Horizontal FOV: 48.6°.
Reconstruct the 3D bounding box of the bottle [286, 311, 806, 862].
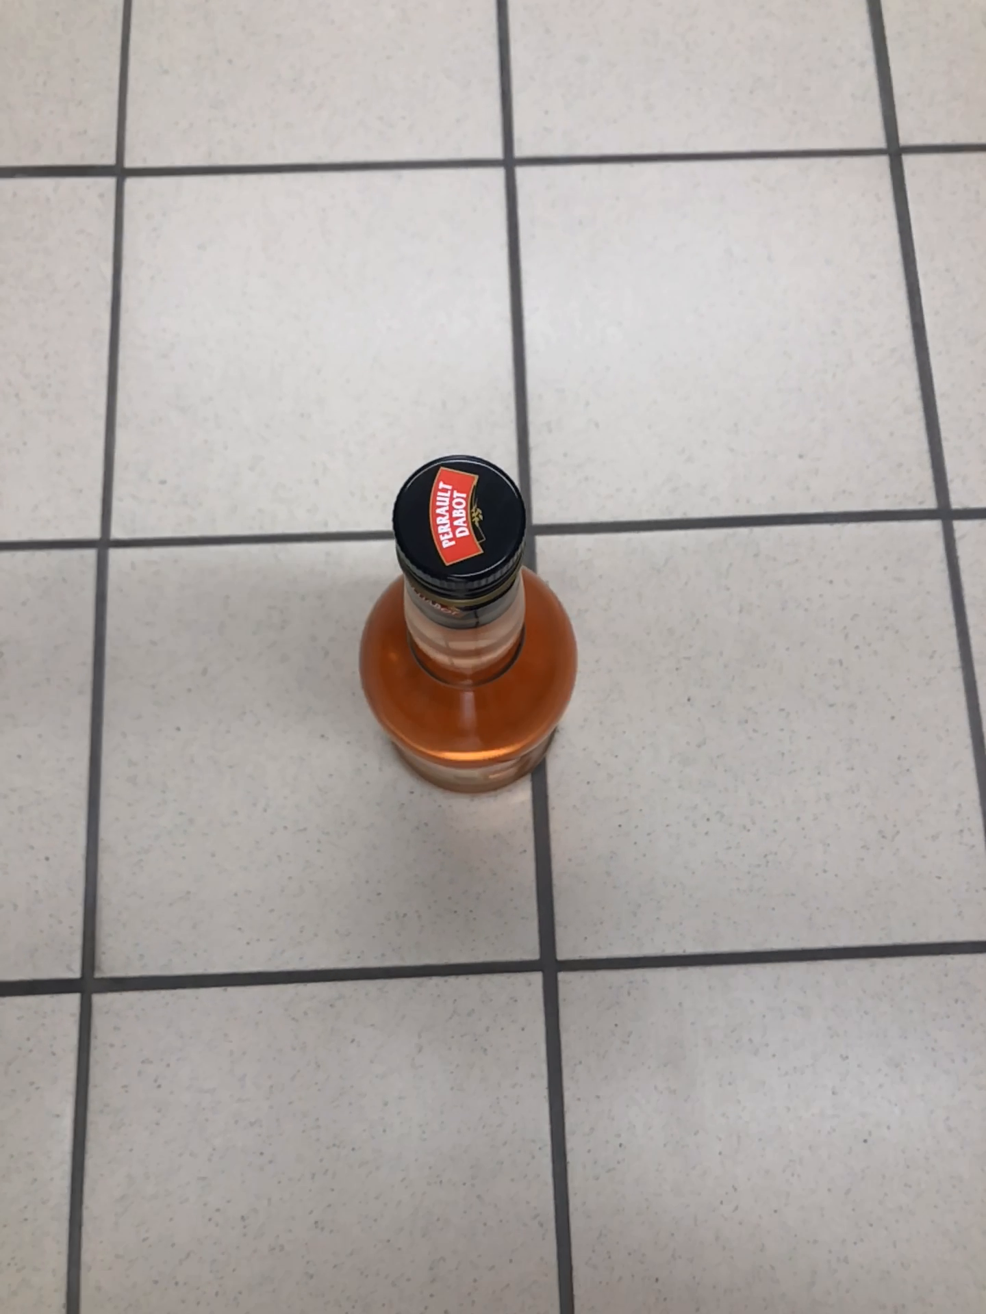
[{"bbox_3d":[0.012,0.002,0.367,0.090,0.240,0.080,34,78,8],"label":"bottle"}]
